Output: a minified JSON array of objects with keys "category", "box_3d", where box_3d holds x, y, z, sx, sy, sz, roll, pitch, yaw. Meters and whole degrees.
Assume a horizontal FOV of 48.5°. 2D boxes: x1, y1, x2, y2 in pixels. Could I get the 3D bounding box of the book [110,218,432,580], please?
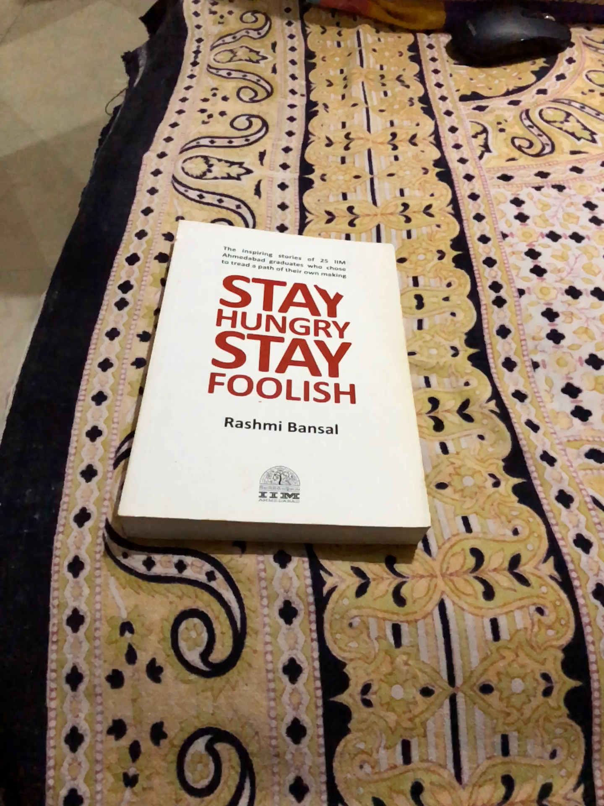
[{"category":"book","box_3d":[-0.012,-0.014,0.372,0.140,0.040,0.211,5,51,-4]}]
